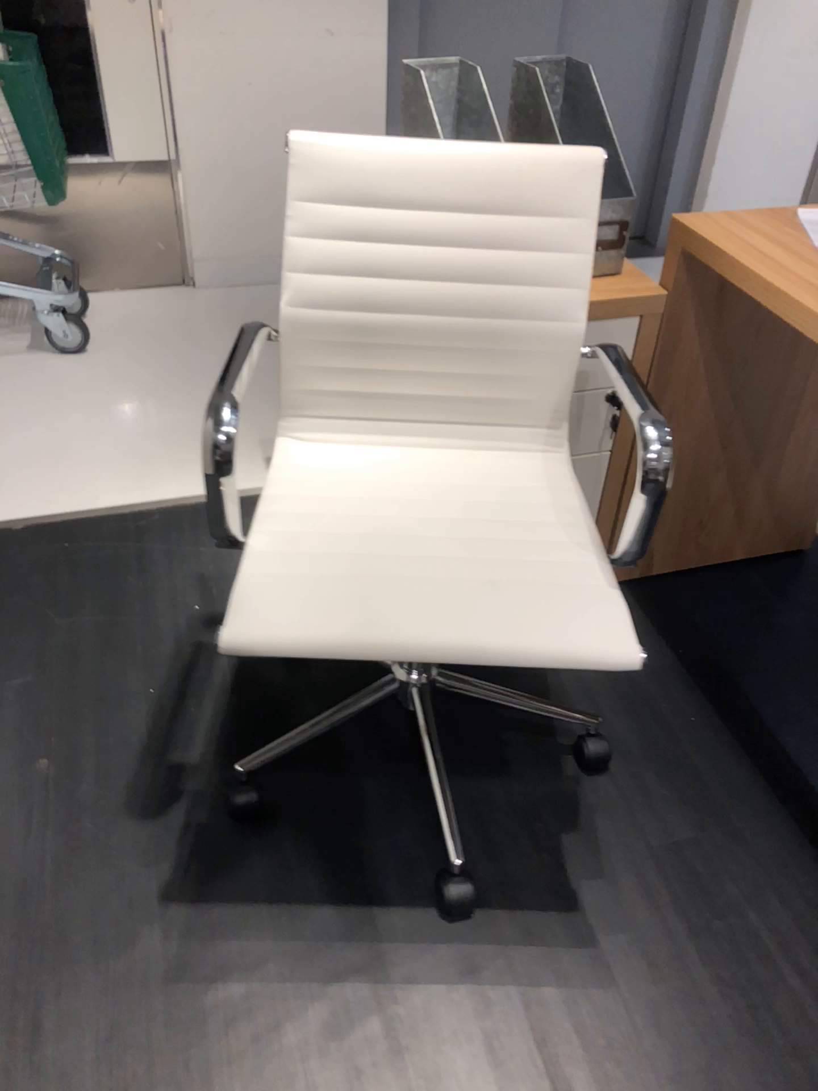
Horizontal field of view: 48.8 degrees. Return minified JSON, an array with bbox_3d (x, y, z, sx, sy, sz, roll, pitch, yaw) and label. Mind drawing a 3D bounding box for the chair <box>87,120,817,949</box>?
[{"bbox_3d":[0.045,-0.023,1.372,0.650,0.952,0.766,3,38,1],"label":"chair"}]
